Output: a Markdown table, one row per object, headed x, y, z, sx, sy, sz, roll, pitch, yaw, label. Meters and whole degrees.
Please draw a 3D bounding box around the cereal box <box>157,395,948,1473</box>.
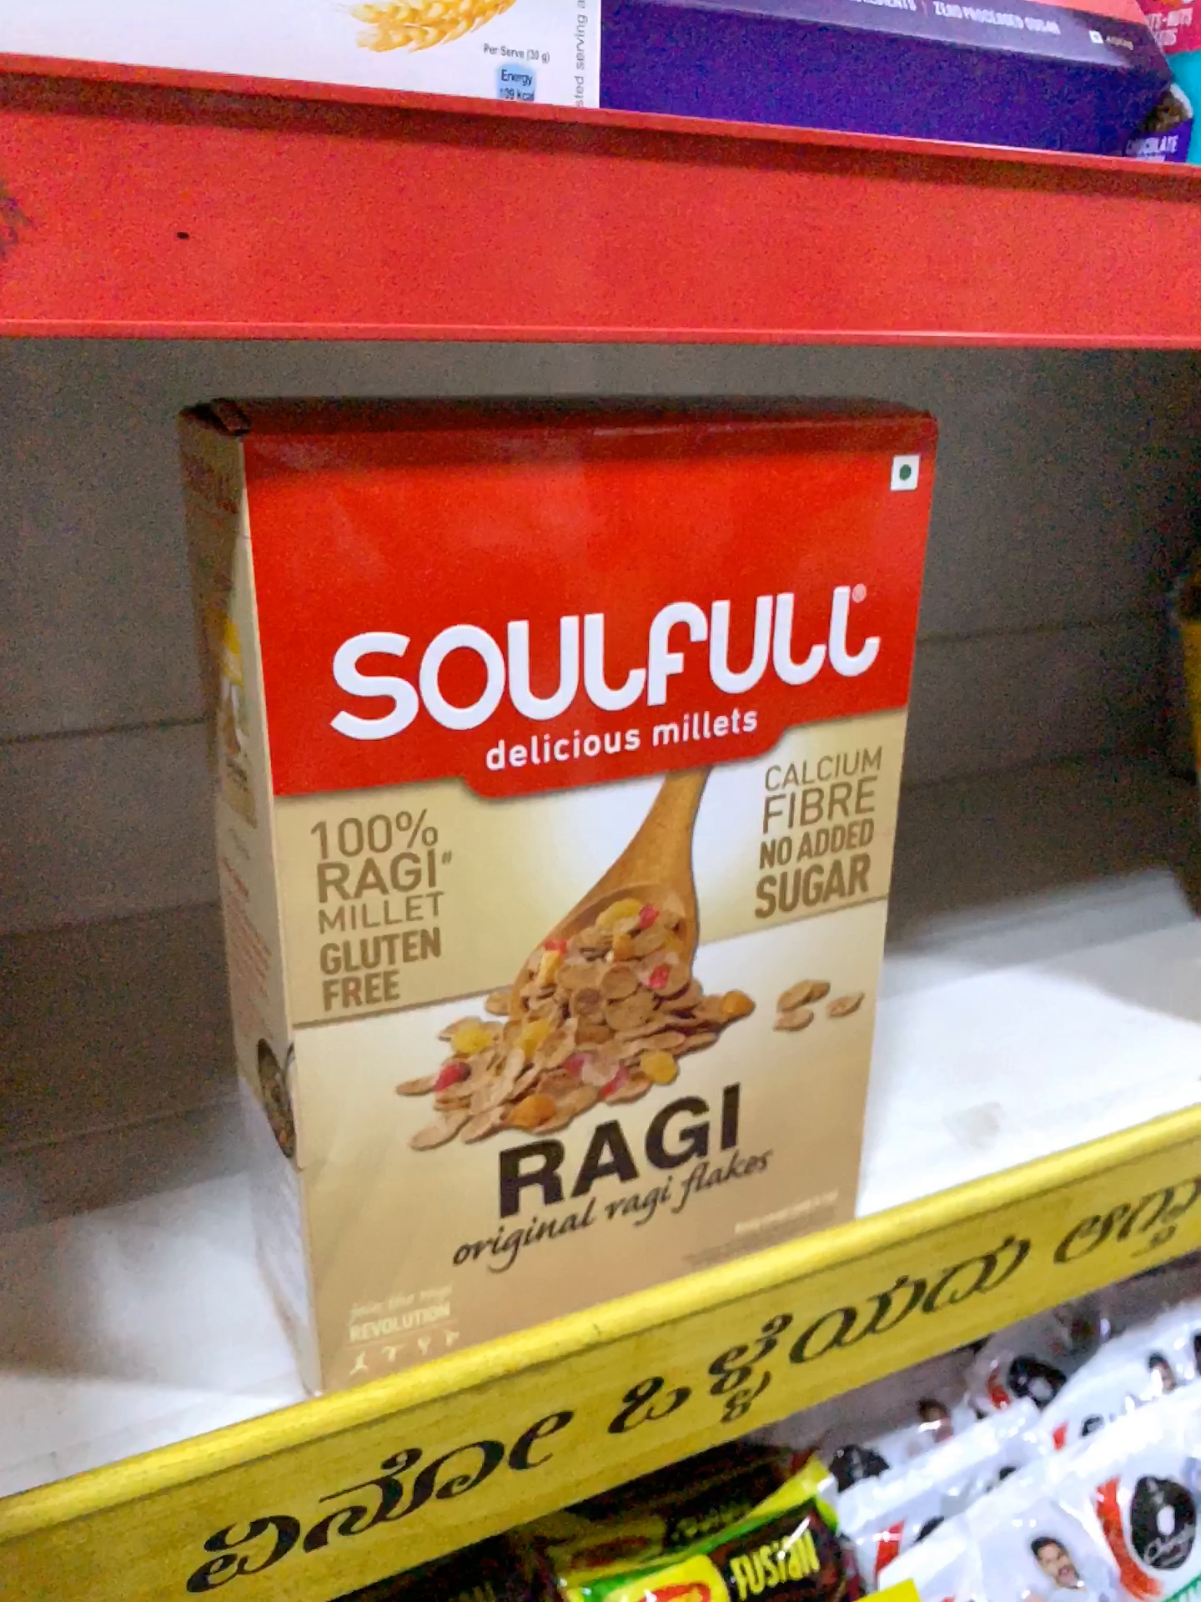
| x | y | z | sx | sy | sz | roll | pitch | yaw | label |
| --- | --- | --- | --- | --- | --- | --- | --- | --- | --- |
| -0.010 | 0.027 | 0.329 | 0.170 | 0.248 | 0.060 | -9 | 23 | -26 | cereal box |
